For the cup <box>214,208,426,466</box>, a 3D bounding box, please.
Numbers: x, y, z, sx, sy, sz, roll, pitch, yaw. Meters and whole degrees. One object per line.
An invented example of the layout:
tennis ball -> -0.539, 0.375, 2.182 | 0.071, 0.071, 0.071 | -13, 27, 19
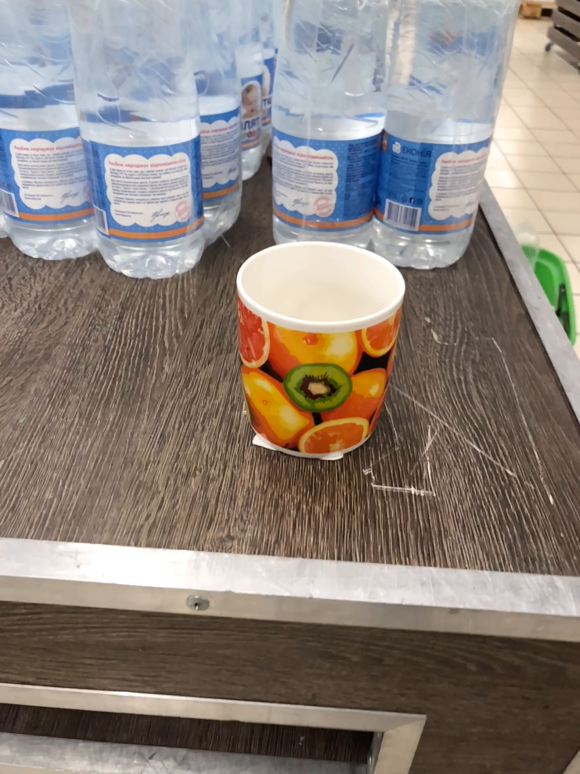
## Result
cup -> 0.007, -0.034, 0.360 | 0.091, 0.085, 0.127 | -3, 38, -7
